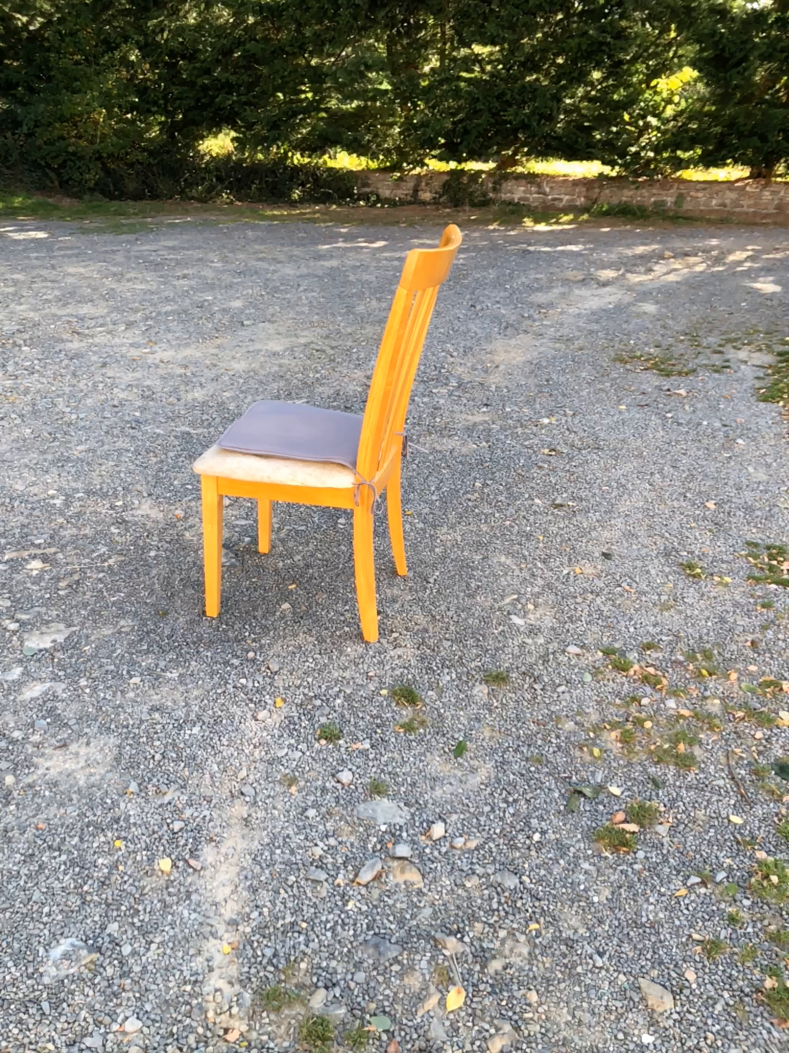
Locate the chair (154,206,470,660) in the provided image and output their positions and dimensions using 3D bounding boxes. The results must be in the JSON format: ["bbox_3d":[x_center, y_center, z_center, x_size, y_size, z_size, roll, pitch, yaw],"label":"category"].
[{"bbox_3d":[-0.171,-0.254,2.229,0.610,0.994,0.513,7,28,10],"label":"chair"}]
